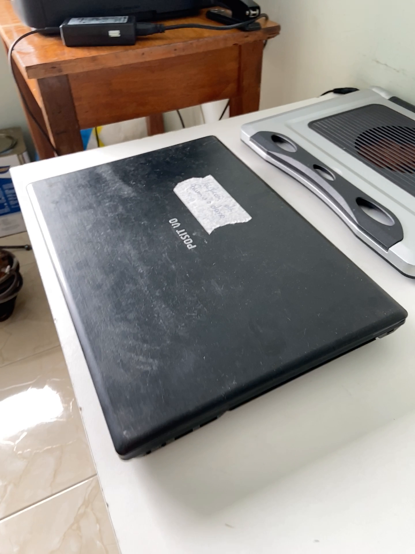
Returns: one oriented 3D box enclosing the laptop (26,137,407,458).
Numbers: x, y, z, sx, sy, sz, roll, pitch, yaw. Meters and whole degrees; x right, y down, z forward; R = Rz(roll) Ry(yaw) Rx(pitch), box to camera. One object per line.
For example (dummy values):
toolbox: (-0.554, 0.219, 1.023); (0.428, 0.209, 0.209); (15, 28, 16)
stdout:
laptop: (-0.024, -0.031, 0.407); (0.234, 0.008, 0.330); (-21, 48, -16)
